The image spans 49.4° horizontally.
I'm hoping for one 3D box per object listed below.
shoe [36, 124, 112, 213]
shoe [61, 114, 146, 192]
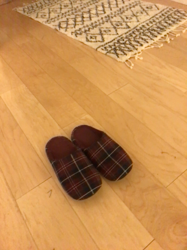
[{"bbox_3d":[-0.070,0.116,0.631,0.120,0.030,0.271,-27,51,-17],"label":"shoe"},{"bbox_3d":[0.022,0.073,0.658,0.120,0.030,0.271,-35,54,-22],"label":"shoe"}]
